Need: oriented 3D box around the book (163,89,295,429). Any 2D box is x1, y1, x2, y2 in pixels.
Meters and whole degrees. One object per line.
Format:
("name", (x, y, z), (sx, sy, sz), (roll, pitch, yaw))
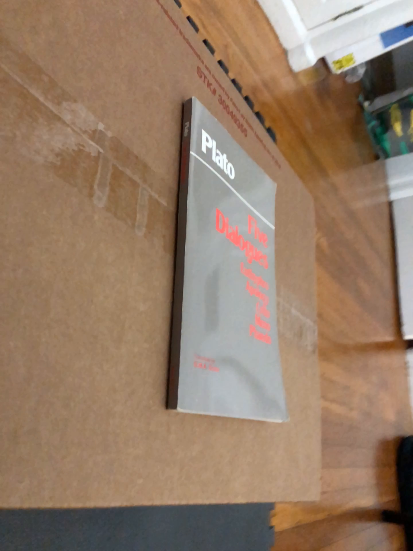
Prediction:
("book", (0.025, -0.003, 0.340), (0.141, 0.020, 0.220), (28, 58, -53))
